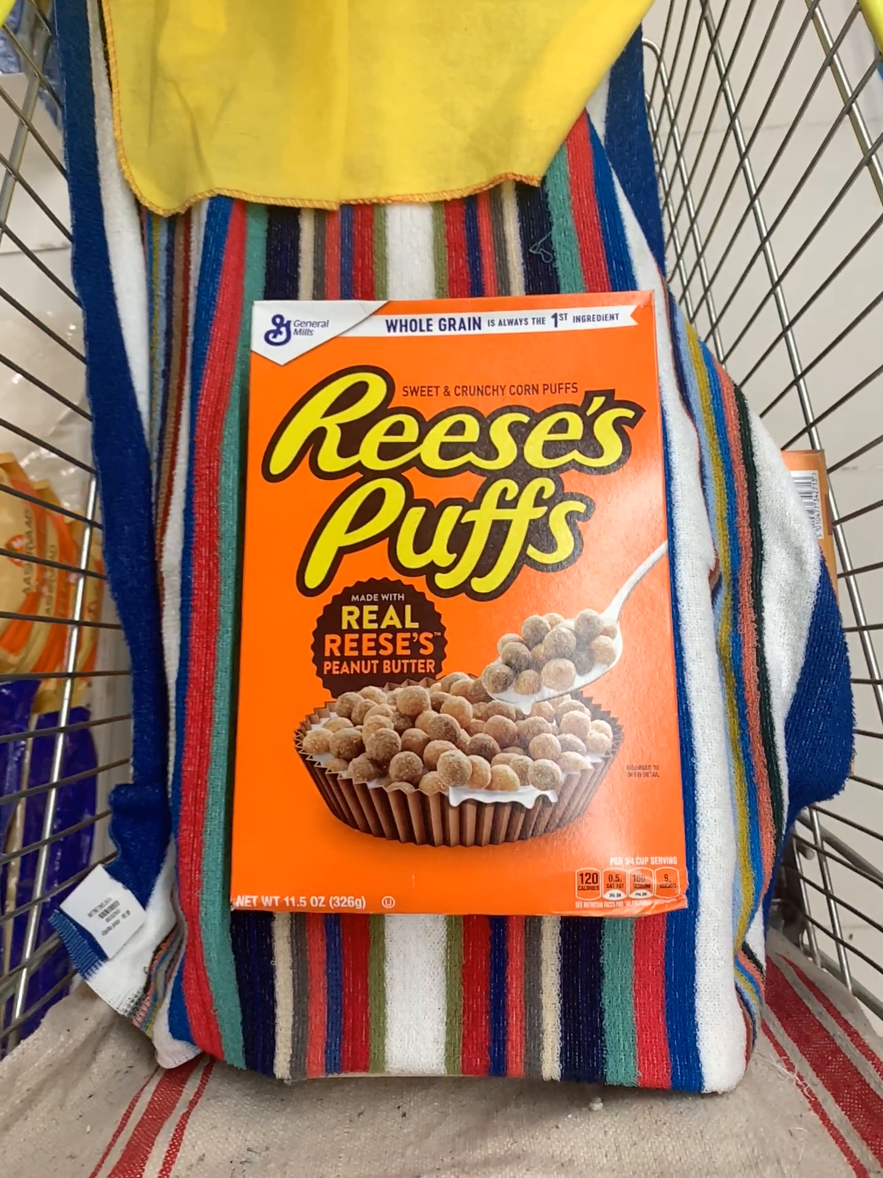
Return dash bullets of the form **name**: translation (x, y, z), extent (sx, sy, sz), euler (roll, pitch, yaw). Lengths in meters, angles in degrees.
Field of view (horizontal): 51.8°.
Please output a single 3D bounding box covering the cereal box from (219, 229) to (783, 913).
- **cereal box**: translation (0.022, -0.008, 0.384), extent (0.200, 0.080, 0.260), euler (0, 80, 3)
